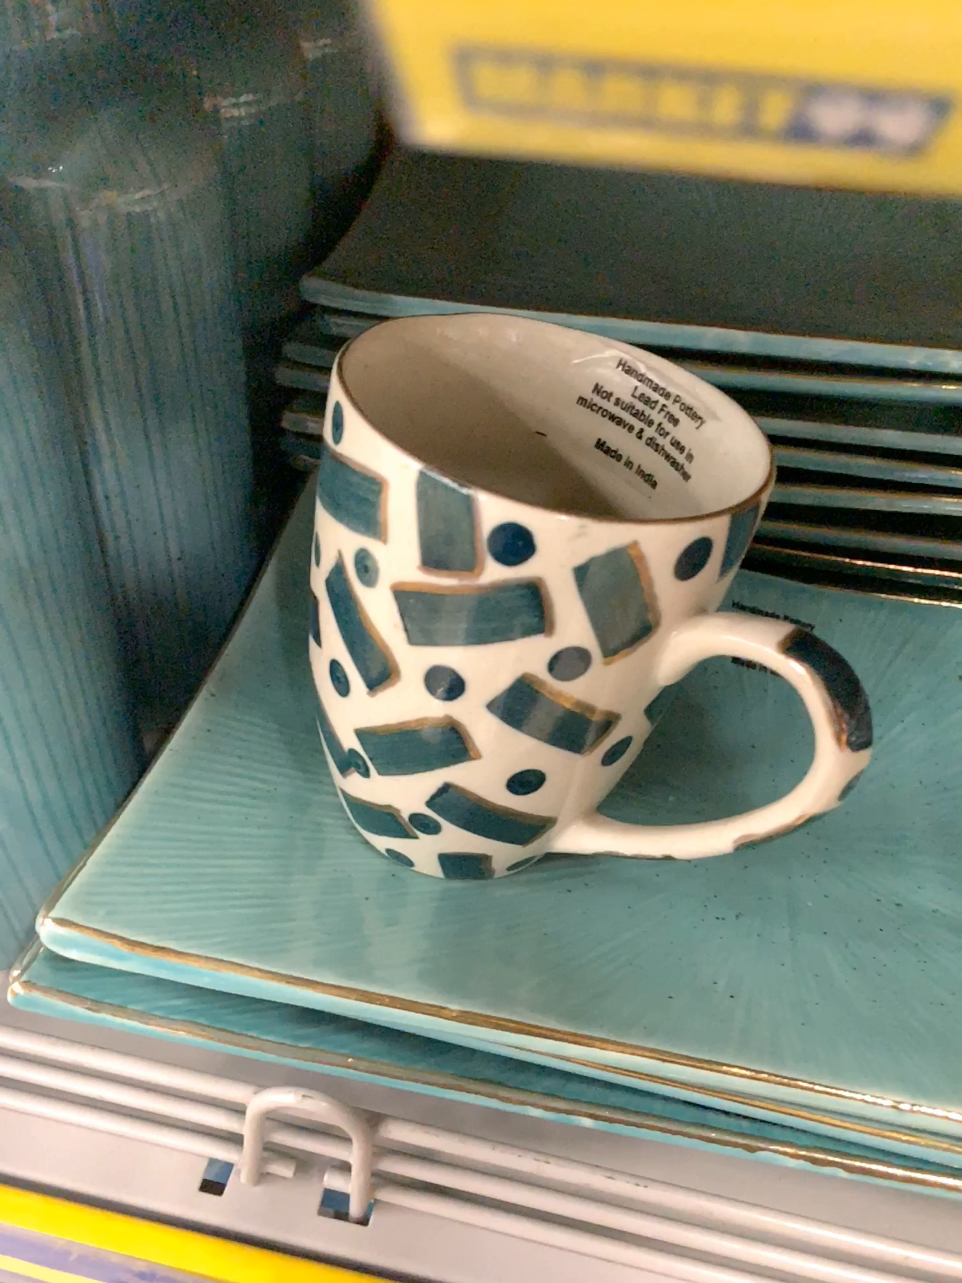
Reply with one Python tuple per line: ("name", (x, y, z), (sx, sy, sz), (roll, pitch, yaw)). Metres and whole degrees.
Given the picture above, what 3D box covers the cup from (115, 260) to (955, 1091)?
("cup", (0.007, -0.003, 0.178), (0.110, 0.080, 0.080), (27, 37, 15))
